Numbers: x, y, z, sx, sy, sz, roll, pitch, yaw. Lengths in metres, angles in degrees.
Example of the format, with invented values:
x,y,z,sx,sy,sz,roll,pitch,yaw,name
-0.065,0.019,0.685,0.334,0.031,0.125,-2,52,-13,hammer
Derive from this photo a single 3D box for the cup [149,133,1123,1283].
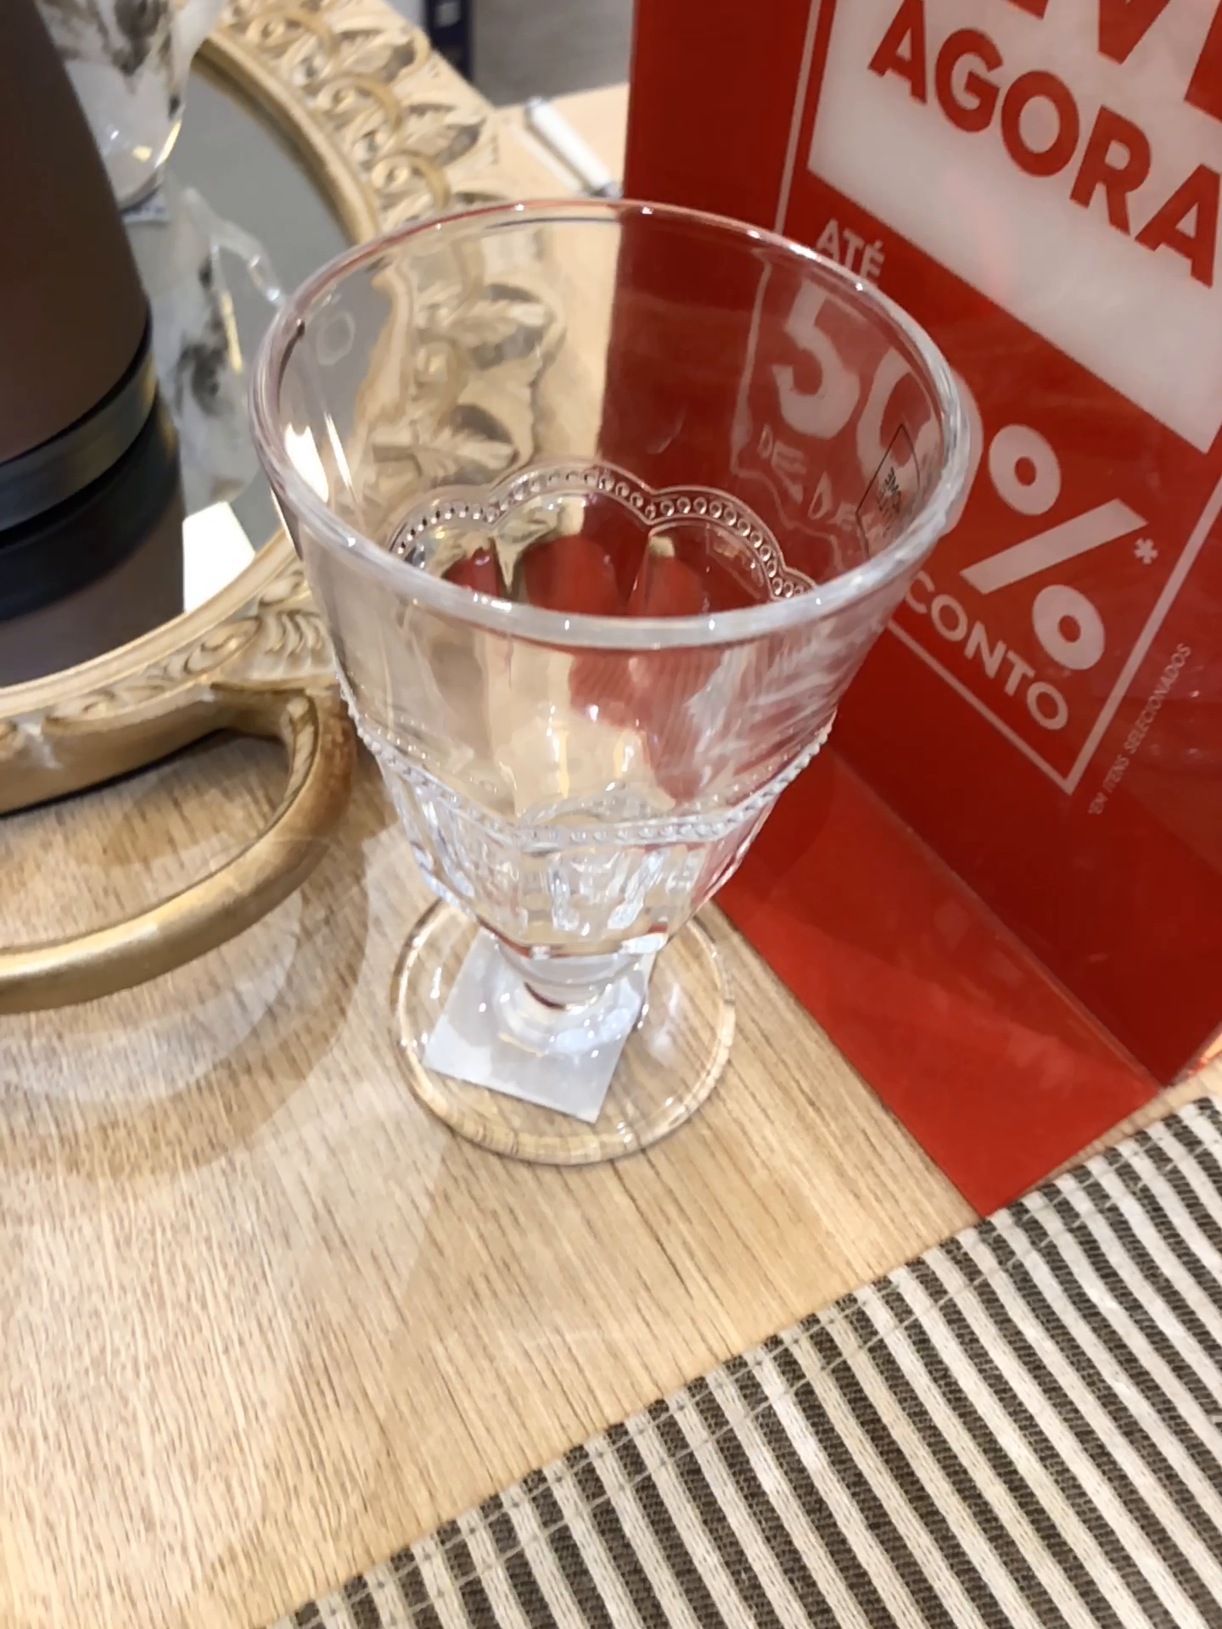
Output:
x,y,z,sx,sy,sz,roll,pitch,yaw,name
-0.005,-0.007,0.204,0.080,0.139,0.080,2,52,-3,cup
